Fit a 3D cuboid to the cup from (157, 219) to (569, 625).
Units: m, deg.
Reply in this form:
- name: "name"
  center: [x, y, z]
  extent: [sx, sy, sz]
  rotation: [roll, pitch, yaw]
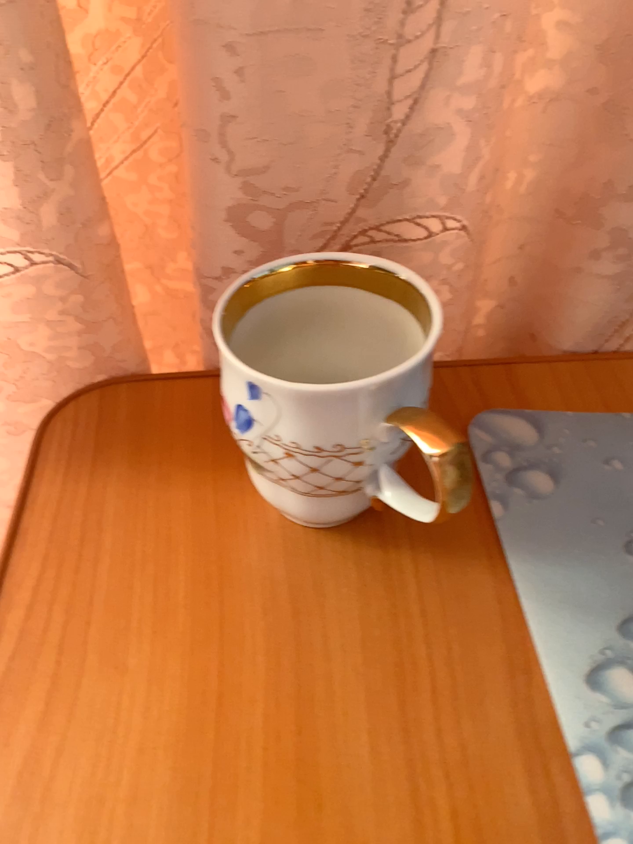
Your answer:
- name: "cup"
  center: [0.009, -0.005, 0.180]
  extent: [0.059, 0.055, 0.083]
  rotation: [-31, 52, -29]
